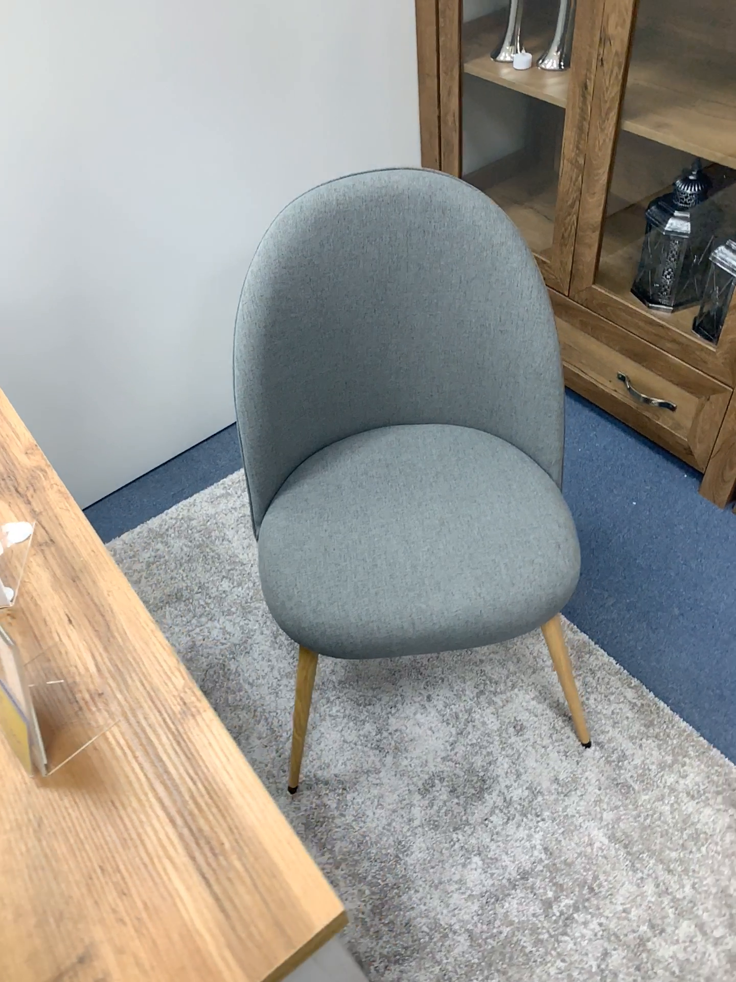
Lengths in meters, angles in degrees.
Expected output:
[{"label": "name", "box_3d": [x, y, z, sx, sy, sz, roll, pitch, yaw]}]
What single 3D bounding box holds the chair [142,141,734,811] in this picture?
[{"label": "chair", "box_3d": [0.054, 0.007, 1.123, 0.530, 0.737, 0.572, -10, 47, -2]}]
